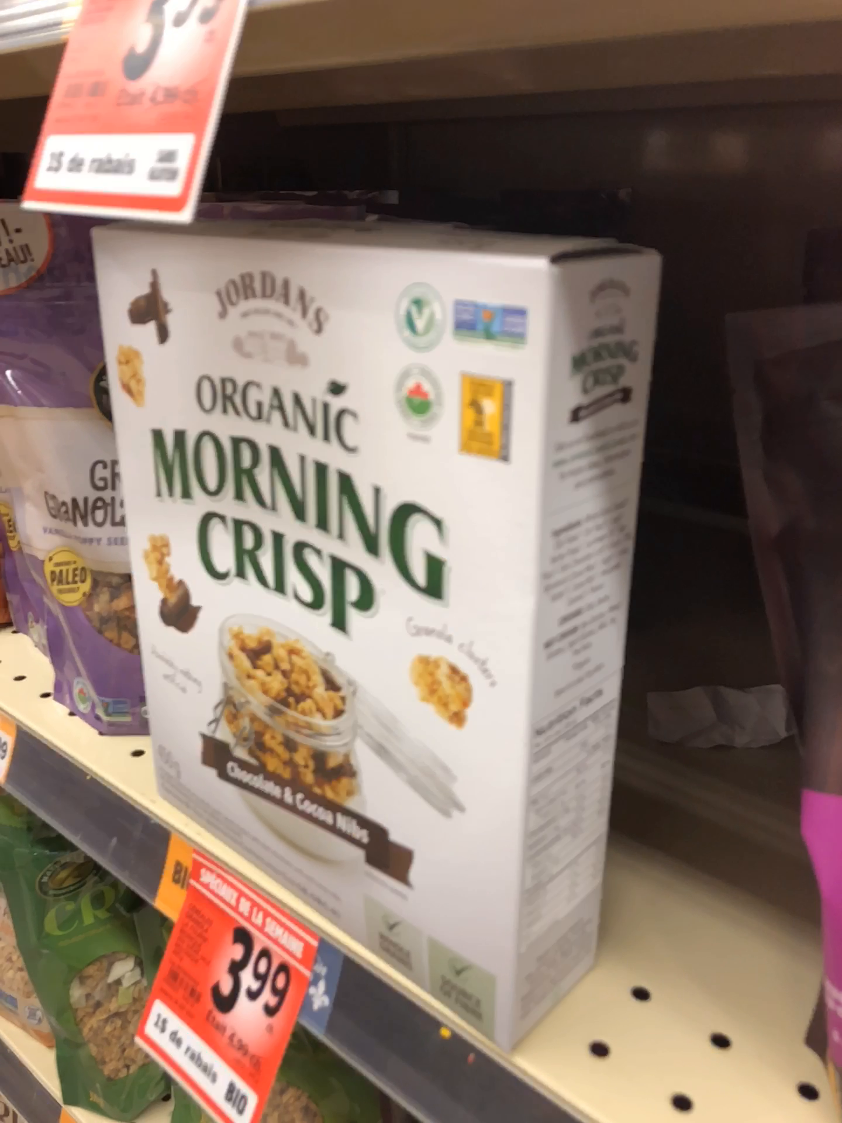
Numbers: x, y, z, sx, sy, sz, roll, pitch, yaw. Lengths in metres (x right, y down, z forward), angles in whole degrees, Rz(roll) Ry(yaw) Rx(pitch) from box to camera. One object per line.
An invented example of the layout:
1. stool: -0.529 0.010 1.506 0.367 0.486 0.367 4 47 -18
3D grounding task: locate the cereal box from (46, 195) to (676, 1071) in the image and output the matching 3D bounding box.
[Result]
1. cereal box: -0.029 0.005 0.275 0.181 0.209 0.050 19 28 39
